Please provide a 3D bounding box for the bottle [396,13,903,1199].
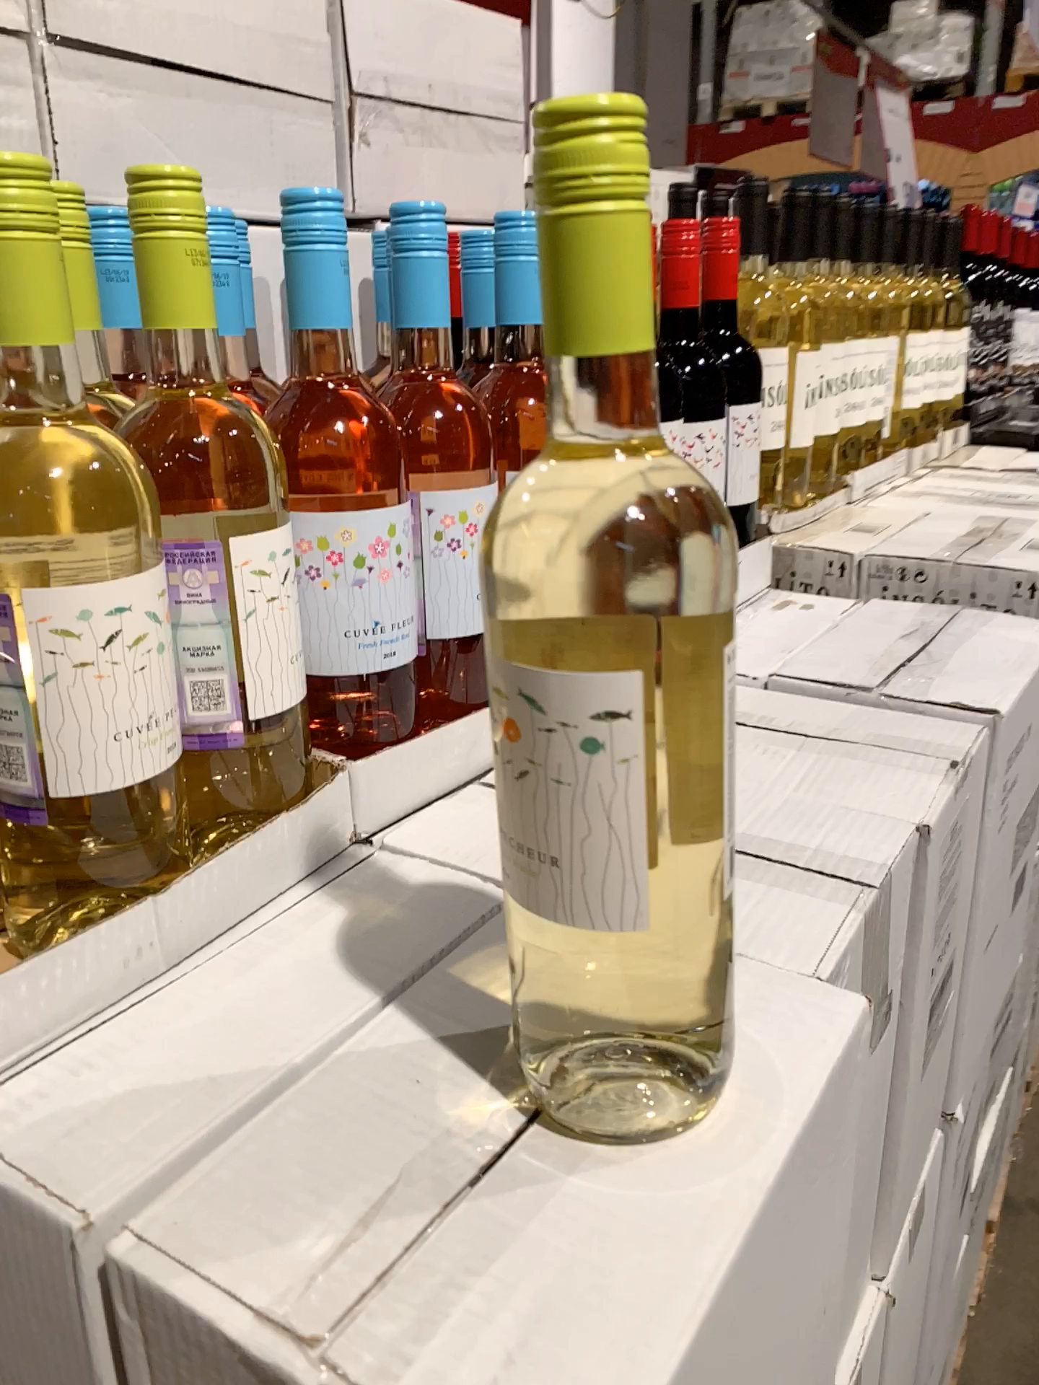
[{"bbox_3d":[0.032,-0.015,0.317,0.090,0.299,0.090,-1,20,0],"label":"bottle"}]
